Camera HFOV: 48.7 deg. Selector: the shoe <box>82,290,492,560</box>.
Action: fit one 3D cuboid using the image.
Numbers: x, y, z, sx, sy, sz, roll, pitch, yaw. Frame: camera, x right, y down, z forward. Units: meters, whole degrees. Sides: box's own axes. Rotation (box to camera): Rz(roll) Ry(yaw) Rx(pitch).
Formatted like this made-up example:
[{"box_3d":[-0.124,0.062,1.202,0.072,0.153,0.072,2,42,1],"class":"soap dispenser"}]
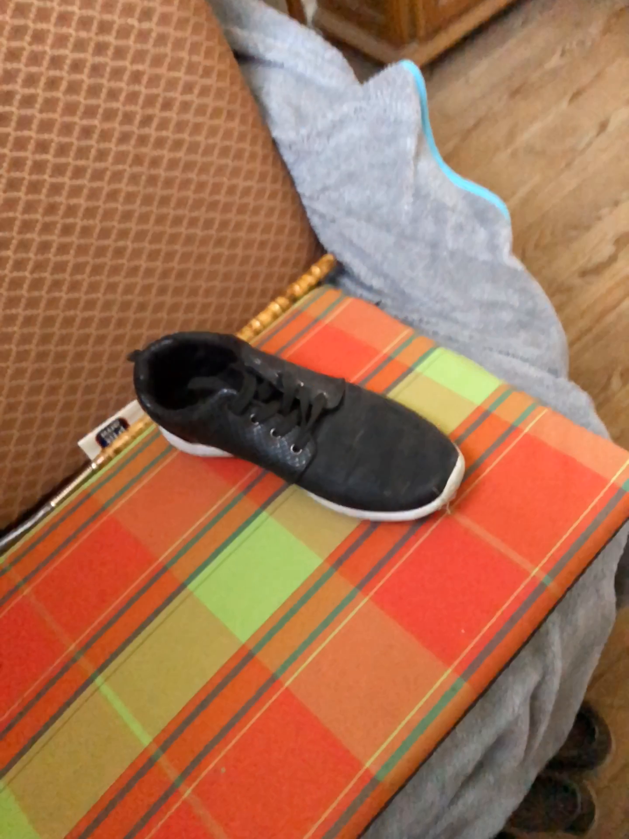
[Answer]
[{"box_3d":[-0.019,-0.004,0.507,0.266,0.080,0.110,15,64,22],"class":"shoe"}]
